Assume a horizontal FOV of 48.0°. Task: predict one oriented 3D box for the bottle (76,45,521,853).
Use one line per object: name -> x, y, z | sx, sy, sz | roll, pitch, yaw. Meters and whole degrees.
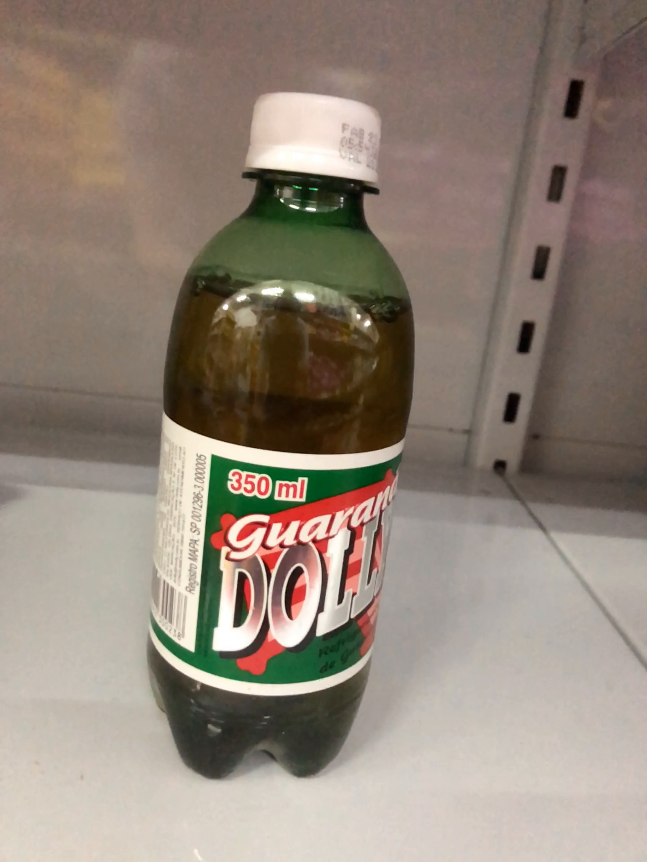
bottle -> -0.017, 0.004, 0.201 | 0.080, 0.179, 0.070 | -5, 21, -33
